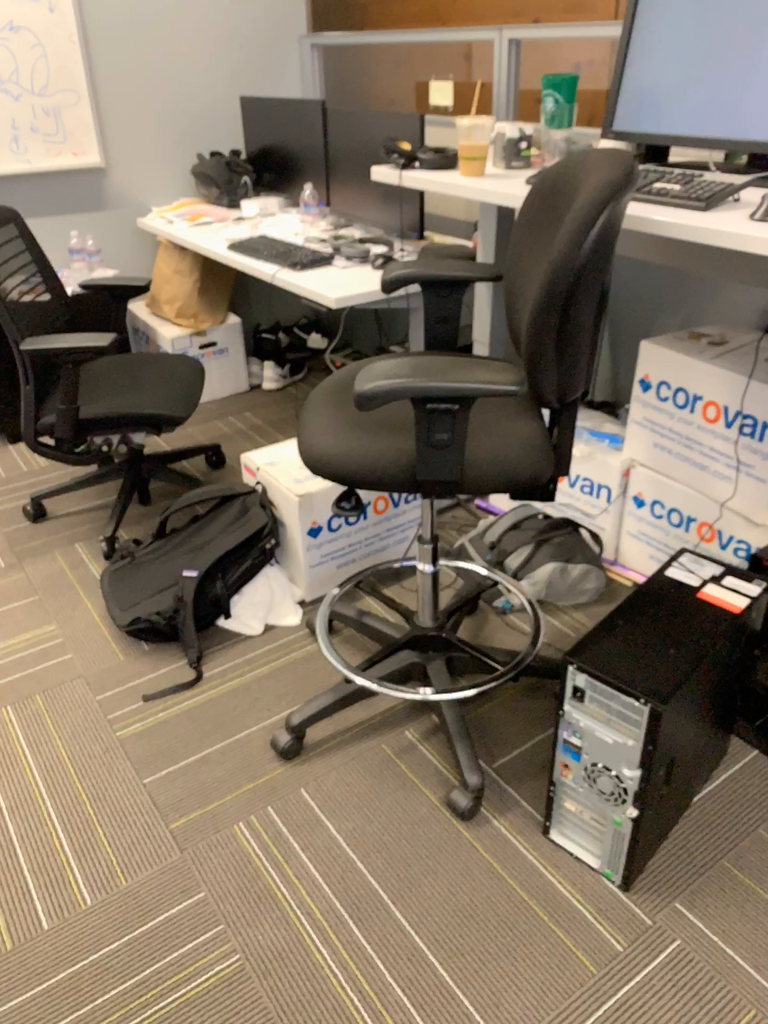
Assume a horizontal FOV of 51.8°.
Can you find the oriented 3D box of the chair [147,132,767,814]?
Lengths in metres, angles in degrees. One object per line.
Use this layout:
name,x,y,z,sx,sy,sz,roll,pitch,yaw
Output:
chair,0.107,-0.089,1.536,0.770,1.103,0.714,-1,30,1
